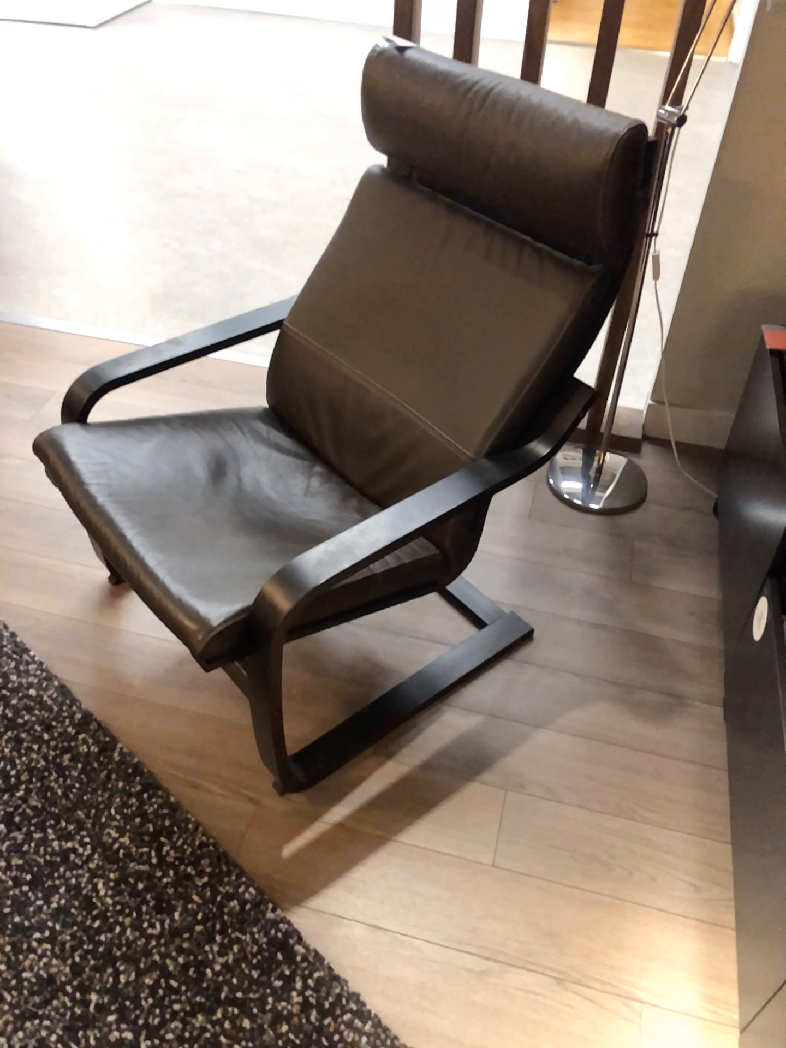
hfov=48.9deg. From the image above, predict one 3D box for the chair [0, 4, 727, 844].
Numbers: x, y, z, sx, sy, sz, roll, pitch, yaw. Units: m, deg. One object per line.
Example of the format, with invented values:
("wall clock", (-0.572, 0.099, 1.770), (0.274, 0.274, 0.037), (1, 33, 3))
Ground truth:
("chair", (-0.137, -0.213, 1.379), (0.731, 0.876, 0.782), (-28, 50, -30))
